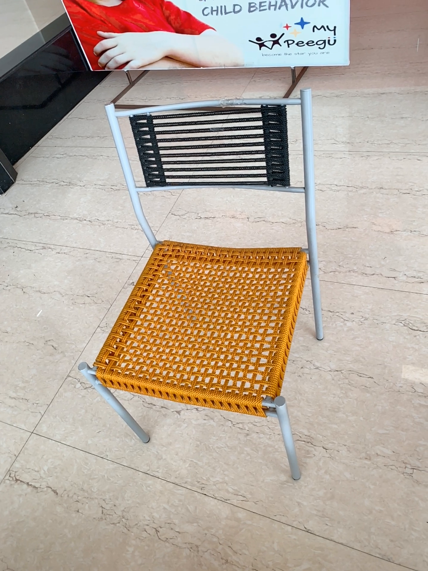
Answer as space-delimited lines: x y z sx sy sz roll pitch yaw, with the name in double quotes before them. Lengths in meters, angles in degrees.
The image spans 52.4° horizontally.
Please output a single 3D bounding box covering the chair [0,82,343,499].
"chair" -0.011 0.041 1.013 0.531 0.744 0.523 6 51 22
